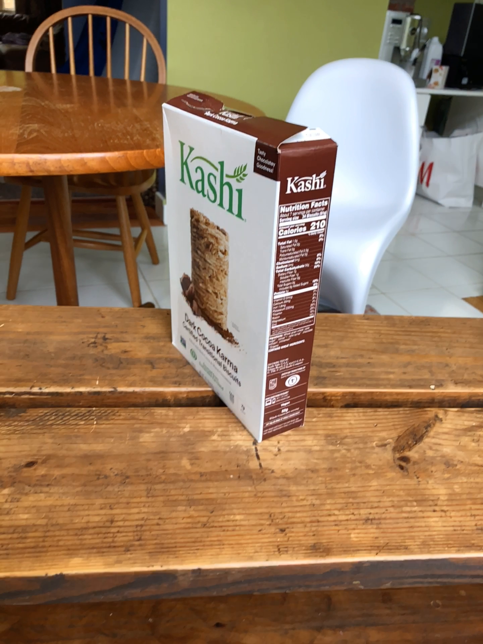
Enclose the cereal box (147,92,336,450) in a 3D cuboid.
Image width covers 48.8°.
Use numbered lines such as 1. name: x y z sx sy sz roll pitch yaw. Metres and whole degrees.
1. cereal box: -0.014 -0.054 0.510 0.060 0.278 0.201 -16 36 -27
